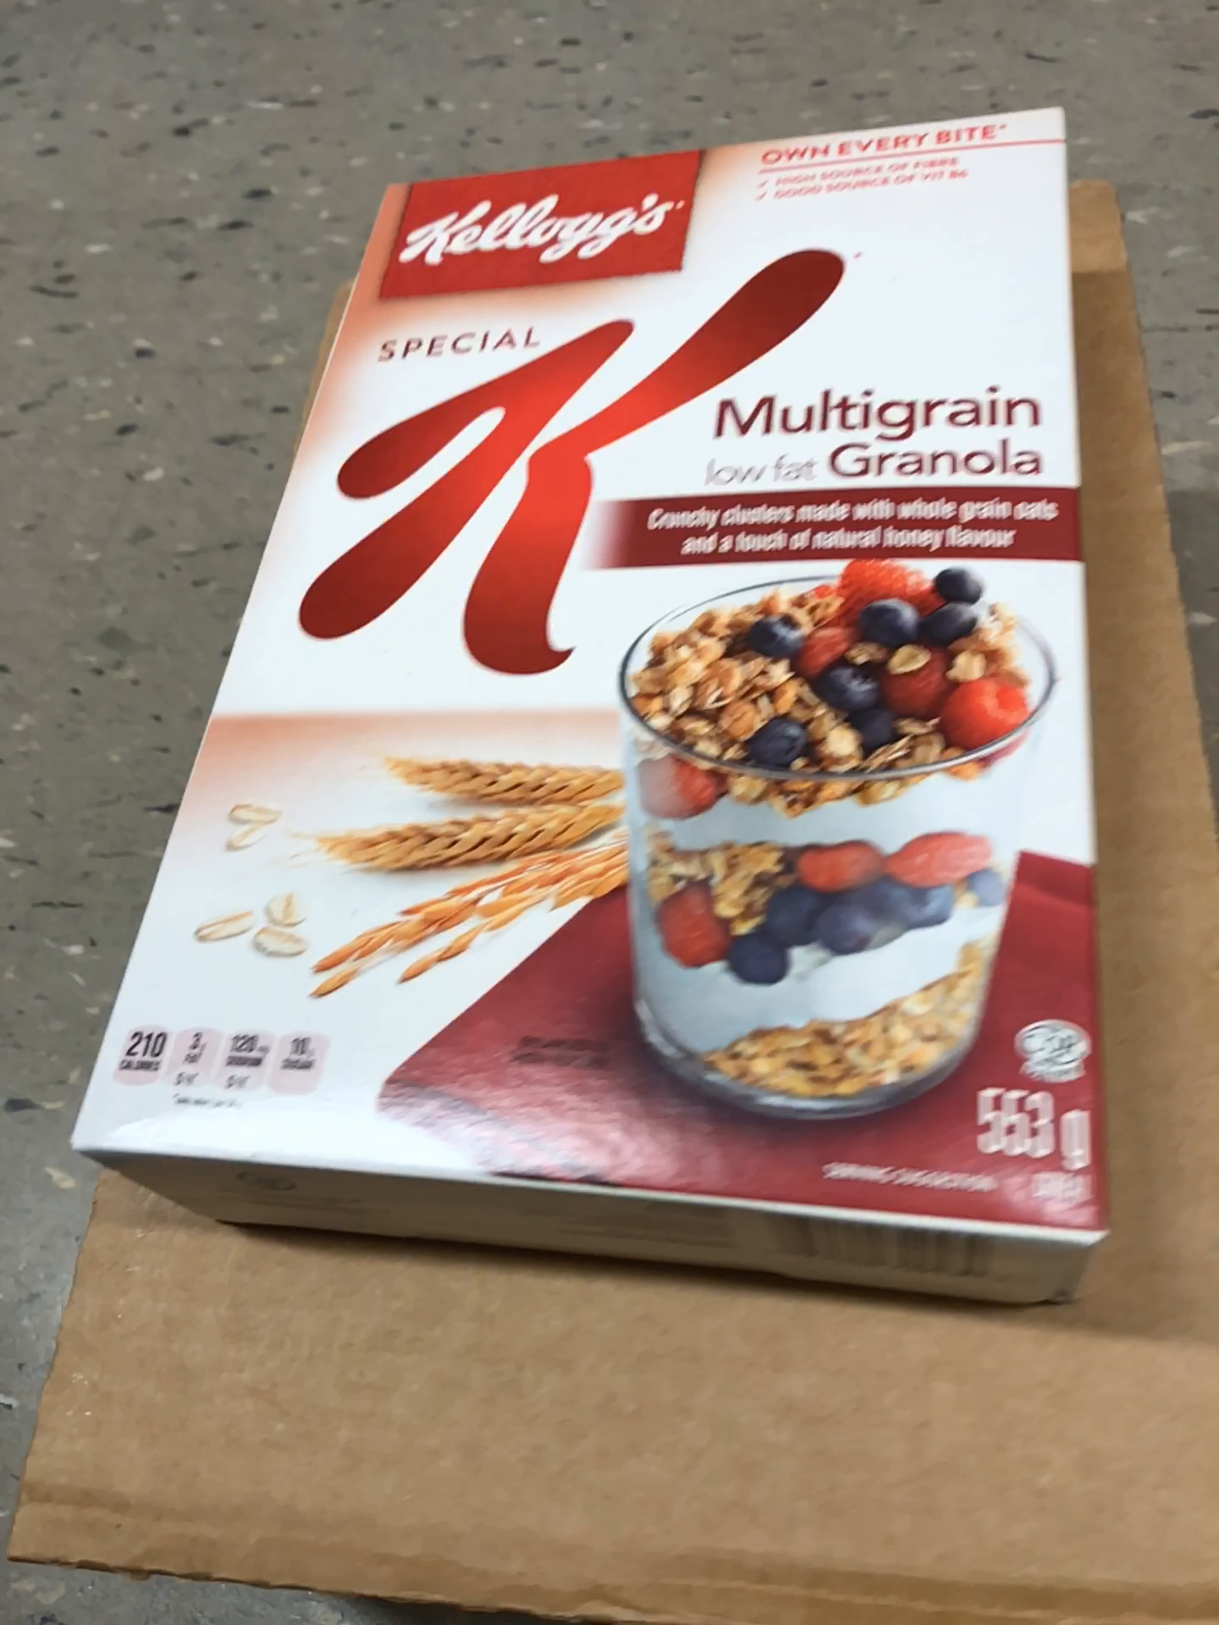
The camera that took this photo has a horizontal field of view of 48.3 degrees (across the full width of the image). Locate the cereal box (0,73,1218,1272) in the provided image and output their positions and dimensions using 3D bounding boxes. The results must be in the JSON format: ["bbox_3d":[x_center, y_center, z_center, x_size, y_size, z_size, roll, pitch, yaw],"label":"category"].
[{"bbox_3d":[0.008,-0.053,0.289,0.180,0.050,0.270,1,58,7],"label":"cereal box"}]
